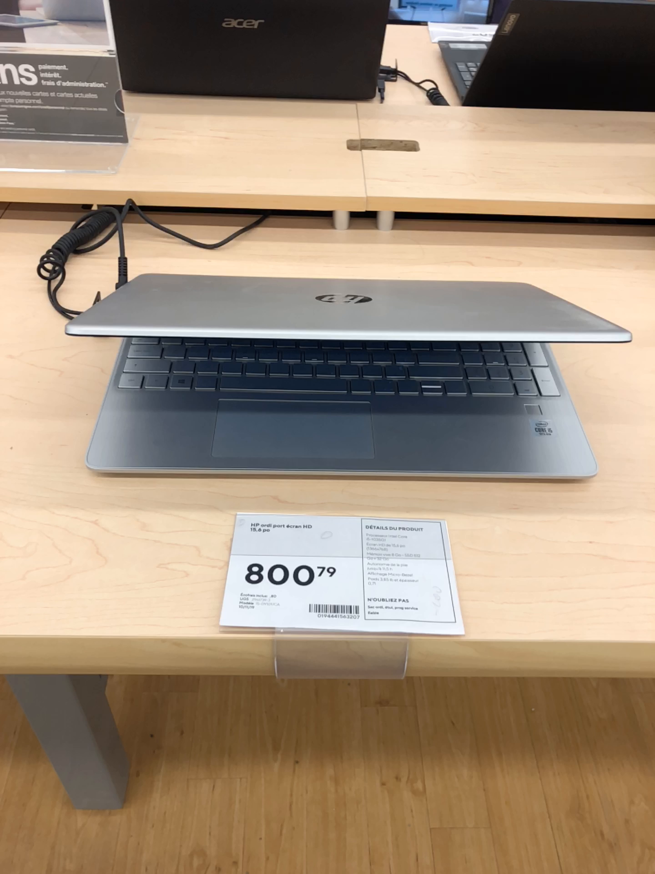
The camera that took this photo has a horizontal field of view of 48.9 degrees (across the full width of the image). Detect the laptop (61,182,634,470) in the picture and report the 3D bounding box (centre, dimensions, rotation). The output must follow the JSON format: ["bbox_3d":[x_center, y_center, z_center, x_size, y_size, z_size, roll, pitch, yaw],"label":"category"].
[{"bbox_3d":[0.013,-0.090,0.535,0.340,0.086,0.225,1,45,-3],"label":"laptop"}]
